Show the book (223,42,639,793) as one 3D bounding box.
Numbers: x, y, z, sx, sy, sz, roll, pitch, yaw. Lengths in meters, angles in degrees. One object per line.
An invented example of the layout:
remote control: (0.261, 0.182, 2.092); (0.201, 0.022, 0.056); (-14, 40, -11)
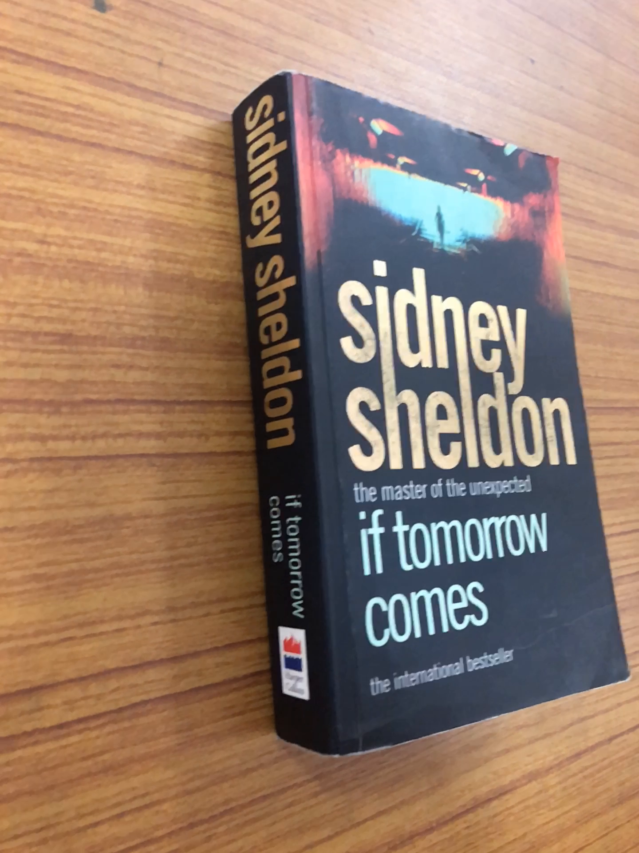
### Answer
book: (0.036, -0.005, 0.213); (0.115, 0.034, 0.176); (1, 81, -37)
